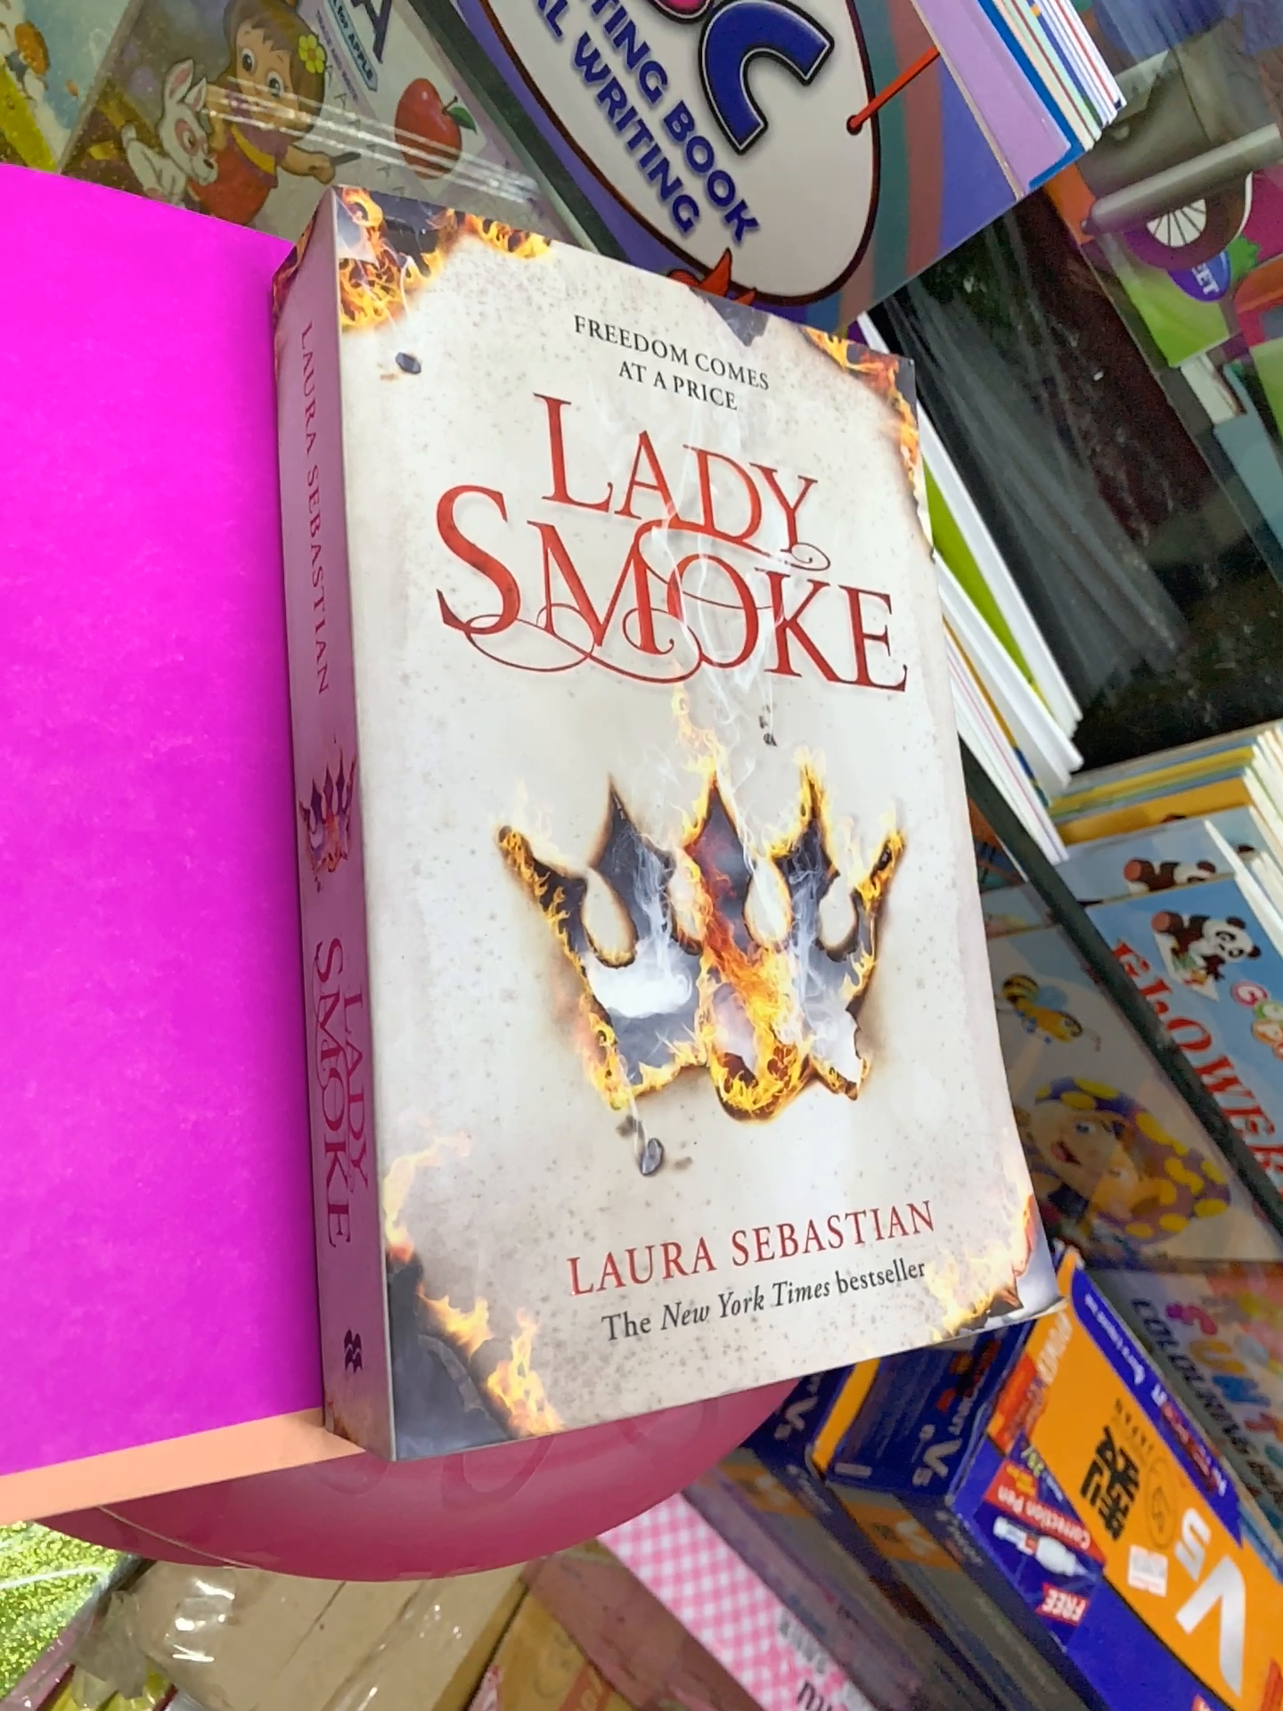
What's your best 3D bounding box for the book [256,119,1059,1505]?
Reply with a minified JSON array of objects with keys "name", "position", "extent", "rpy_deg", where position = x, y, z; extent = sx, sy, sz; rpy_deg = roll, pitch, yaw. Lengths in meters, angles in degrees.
[{"name":"book","position":[0.005,-0.009,0.249],"extent":[0.131,0.050,0.200],"rpy_deg":[0,82,-37]}]
